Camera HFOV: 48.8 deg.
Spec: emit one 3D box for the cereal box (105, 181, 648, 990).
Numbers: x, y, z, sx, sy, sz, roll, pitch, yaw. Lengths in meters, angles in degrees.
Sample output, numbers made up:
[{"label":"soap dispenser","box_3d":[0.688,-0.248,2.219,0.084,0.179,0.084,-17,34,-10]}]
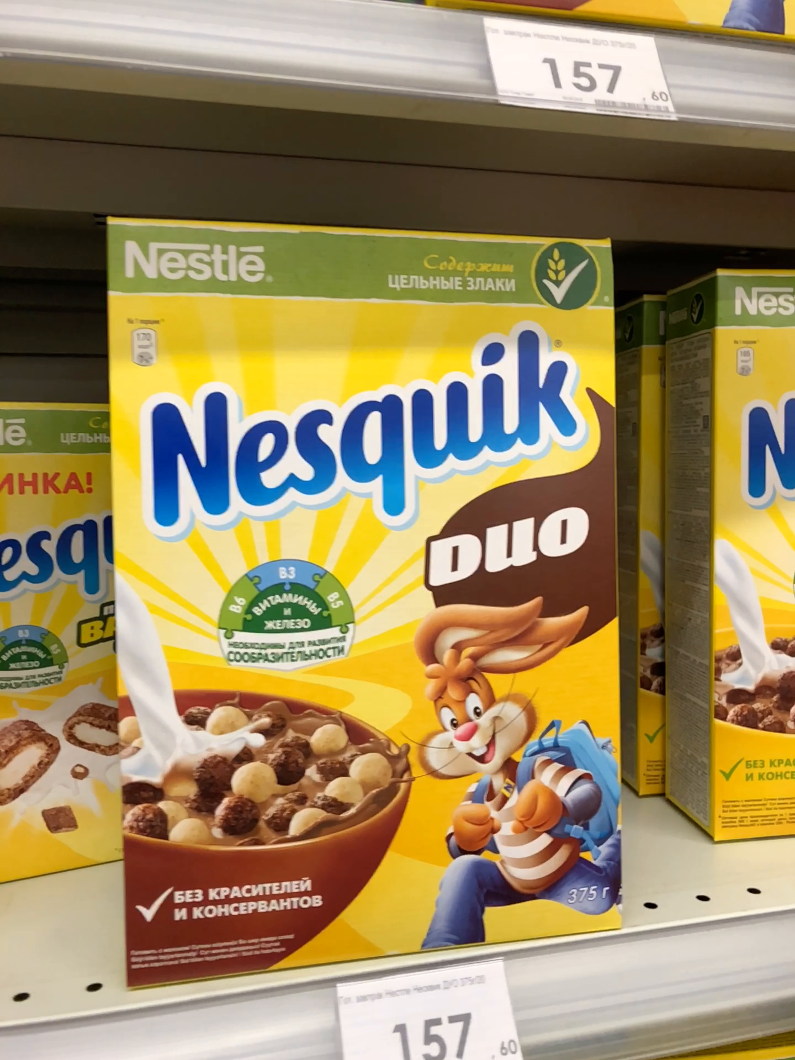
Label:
[{"label":"cereal box","box_3d":[-0.007,0.018,0.352,0.200,0.280,0.060,-1,1,-11]}]
